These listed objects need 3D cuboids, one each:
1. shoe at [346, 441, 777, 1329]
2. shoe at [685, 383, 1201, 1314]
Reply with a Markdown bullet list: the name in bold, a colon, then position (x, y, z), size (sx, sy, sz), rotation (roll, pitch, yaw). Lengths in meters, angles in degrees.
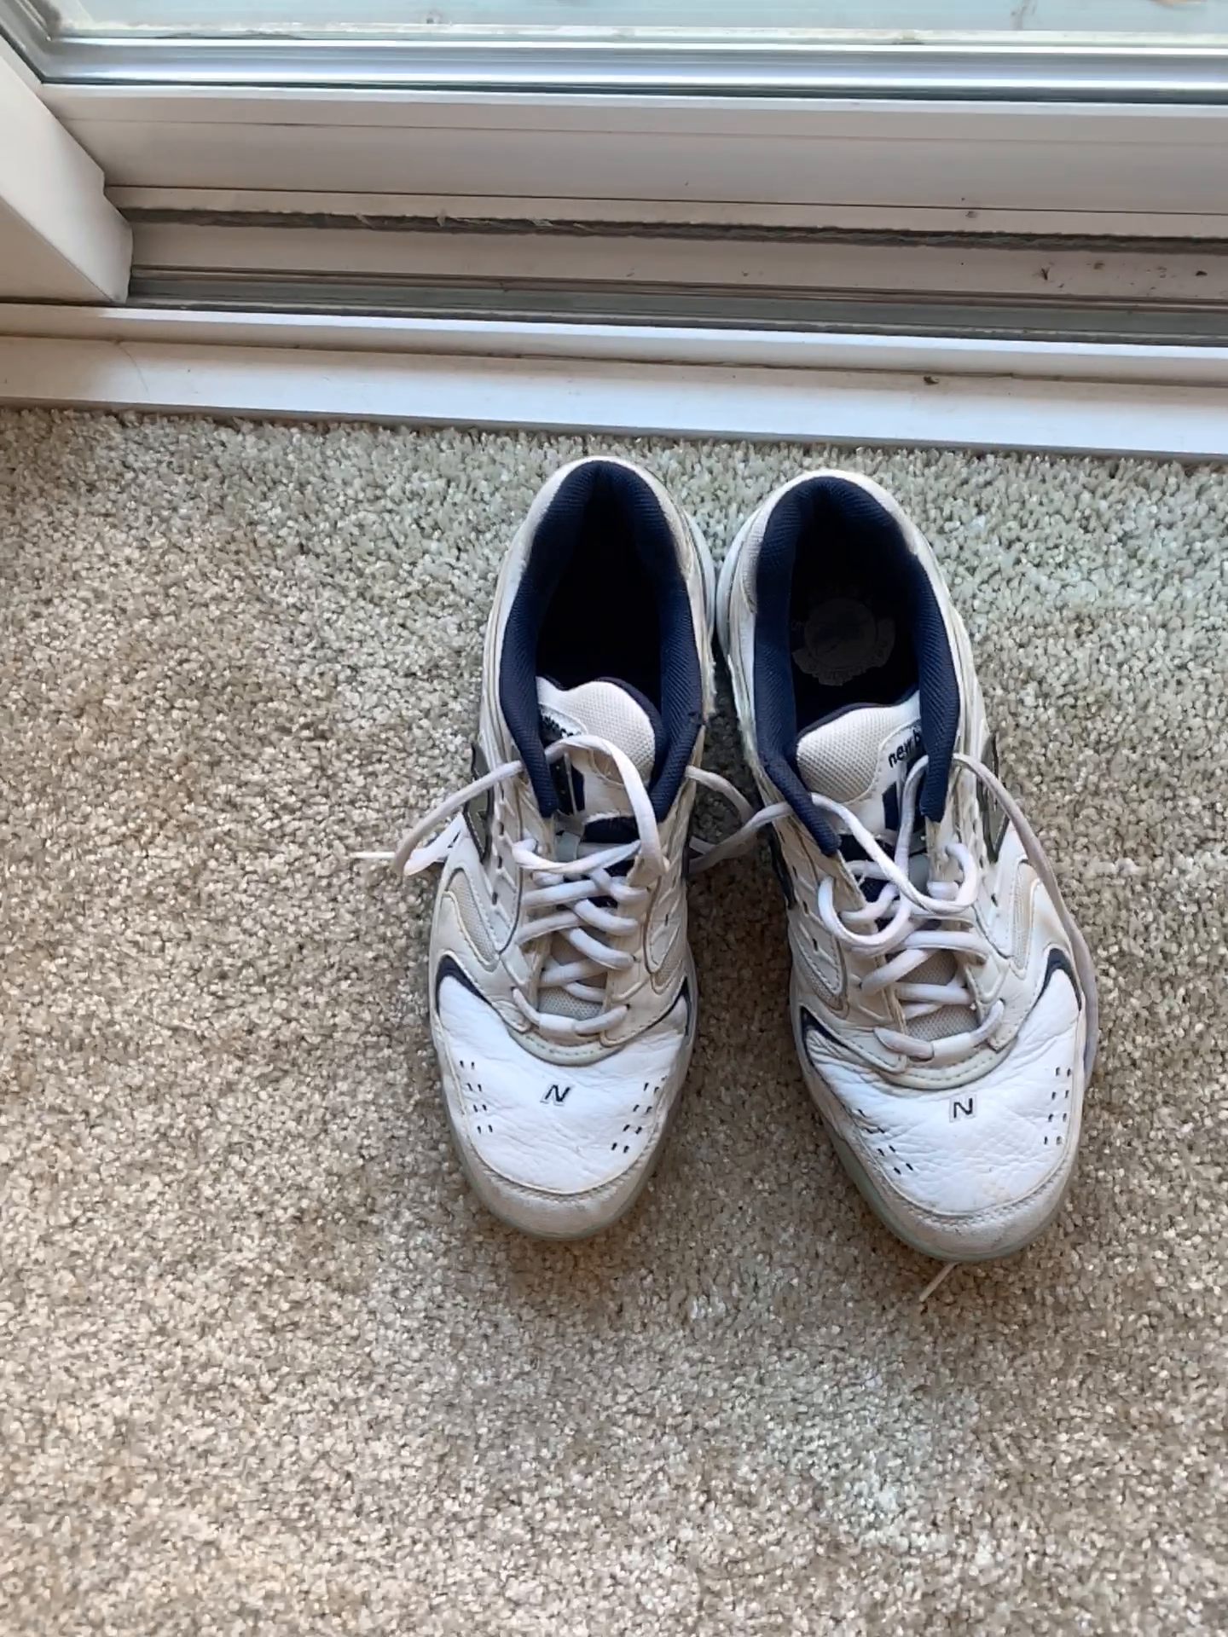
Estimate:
- **shoe**: position (-0.011, 0.019, 0.446), size (0.110, 0.100, 0.270), rotation (5, 87, 7)
- **shoe**: position (0.107, 0.011, 0.452), size (0.110, 0.110, 0.280), rotation (-10, 85, 6)
